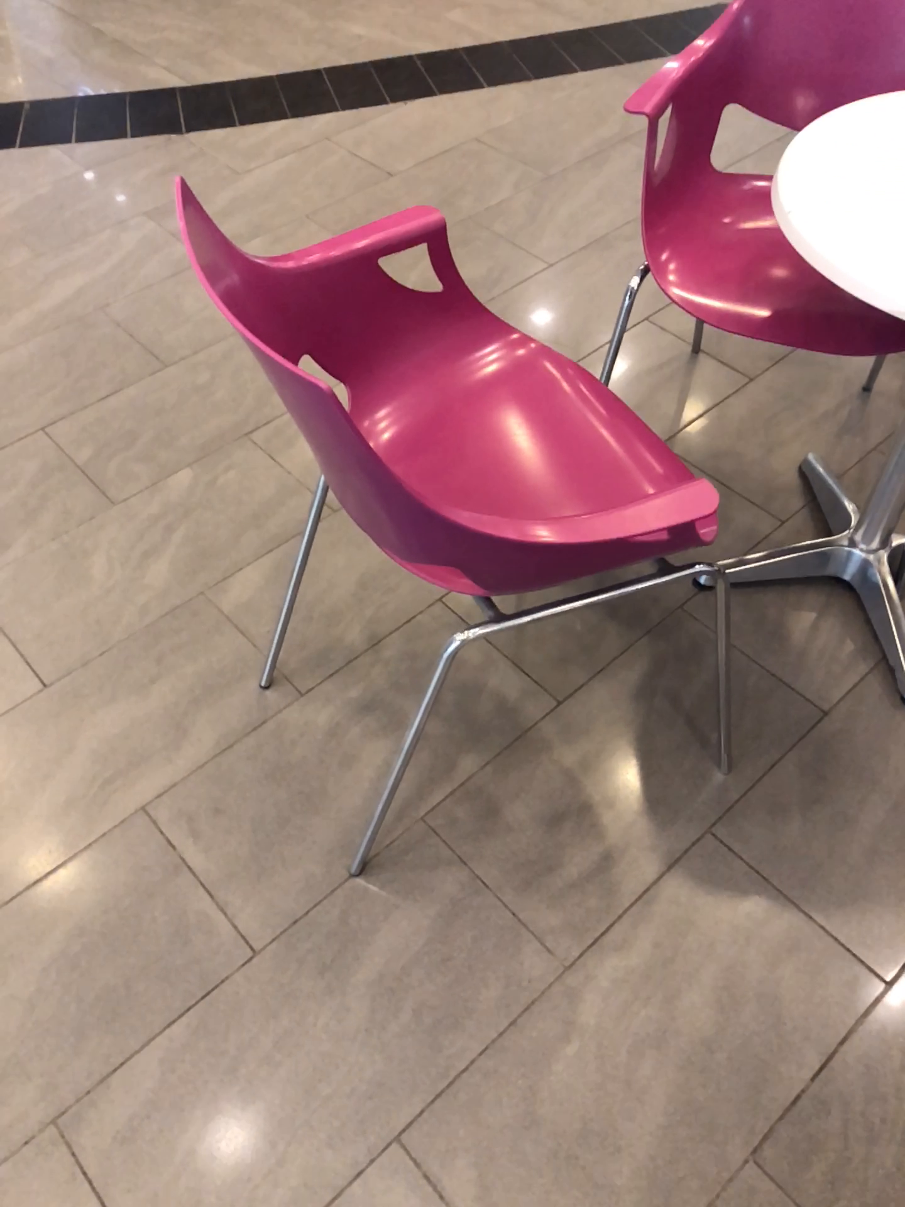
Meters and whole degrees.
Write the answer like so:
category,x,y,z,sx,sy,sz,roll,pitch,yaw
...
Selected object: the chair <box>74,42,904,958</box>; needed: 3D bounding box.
category,x,y,z,sx,sy,sz,roll,pitch,yaw
chair,0.014,-0.113,1.215,0.591,0.757,0.632,-21,53,-15
